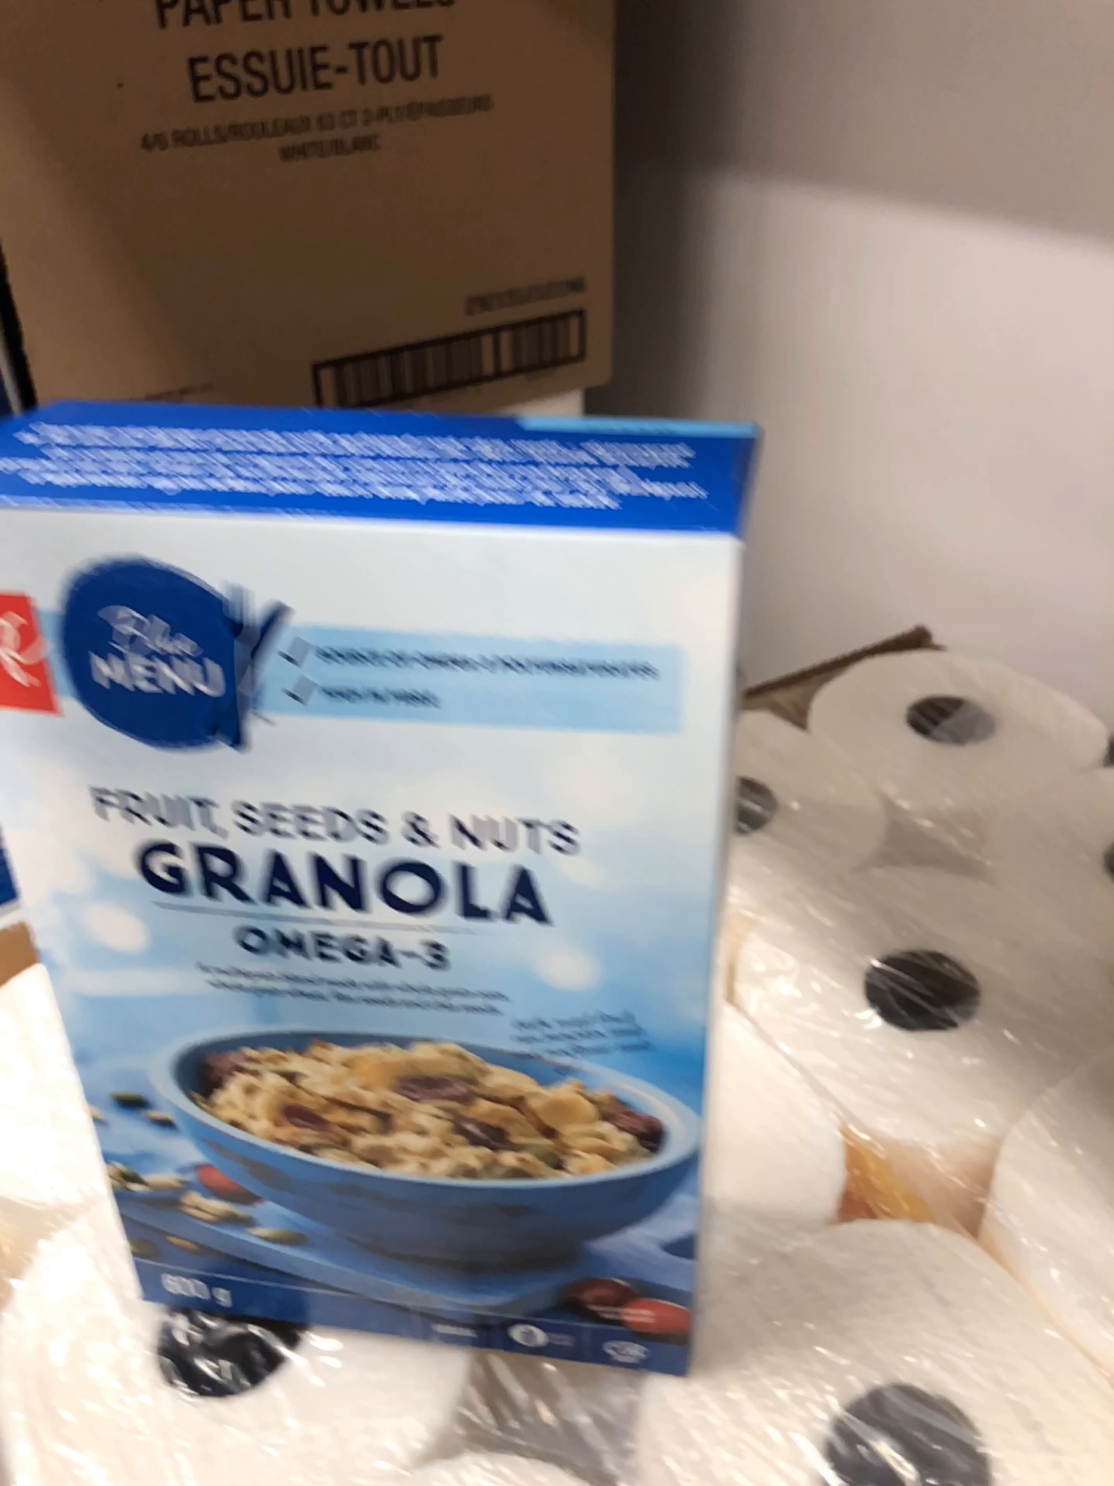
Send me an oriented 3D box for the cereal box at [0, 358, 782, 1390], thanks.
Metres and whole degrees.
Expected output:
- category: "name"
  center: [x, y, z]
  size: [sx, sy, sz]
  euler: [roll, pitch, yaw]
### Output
- category: "cereal box"
  center: [-0.036, 0.040, 0.294]
  size: [0.160, 0.239, 0.060]
  euler: [4, 32, 11]
